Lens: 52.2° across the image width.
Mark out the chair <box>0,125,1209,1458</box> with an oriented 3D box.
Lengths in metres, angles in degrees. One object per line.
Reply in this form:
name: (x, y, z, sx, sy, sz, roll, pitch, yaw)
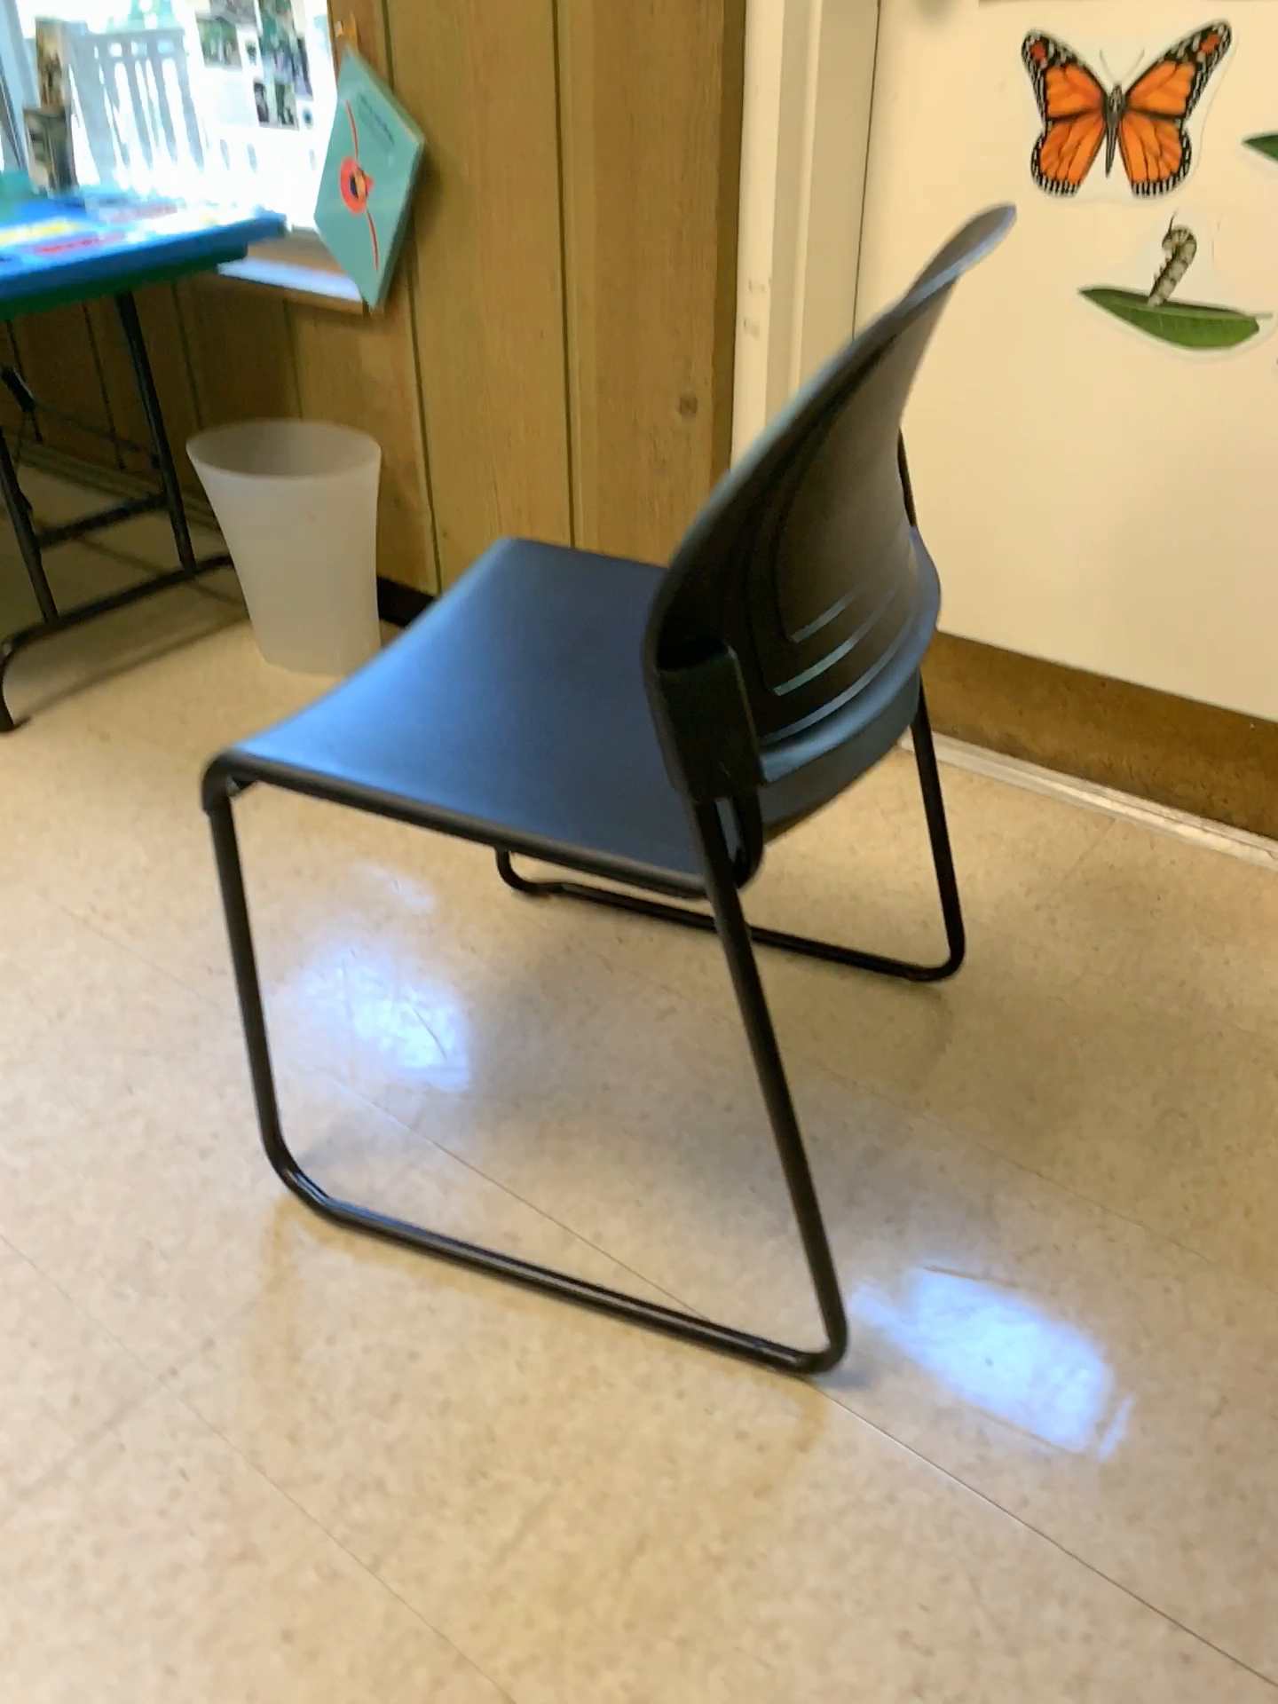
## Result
chair: (0.031, -0.099, 1.057, 0.621, 0.795, 0.583, 12, 36, 18)
